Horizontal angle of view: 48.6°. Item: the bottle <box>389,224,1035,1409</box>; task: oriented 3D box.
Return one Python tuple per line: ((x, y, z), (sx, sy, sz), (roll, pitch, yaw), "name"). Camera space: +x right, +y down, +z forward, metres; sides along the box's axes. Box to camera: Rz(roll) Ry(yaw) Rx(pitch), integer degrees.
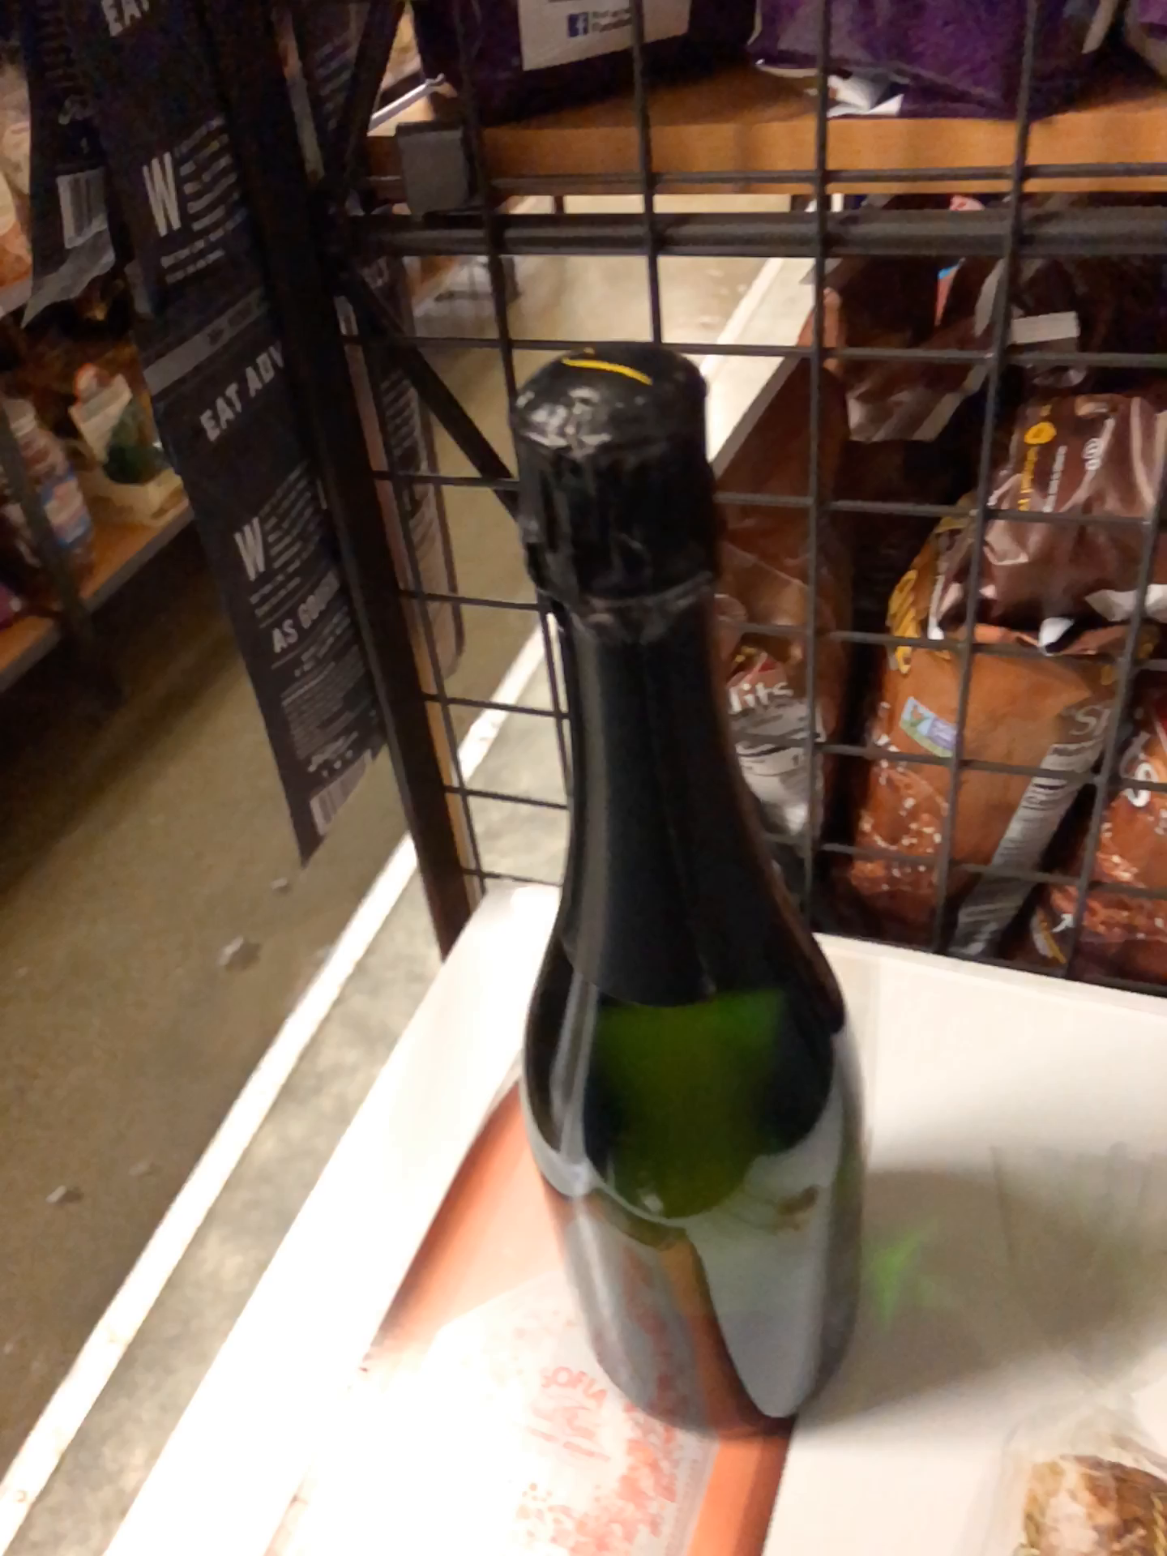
((0.034, 0.037, 0.307), (0.090, 0.289, 0.090), (-4, 39, 4), "bottle")
